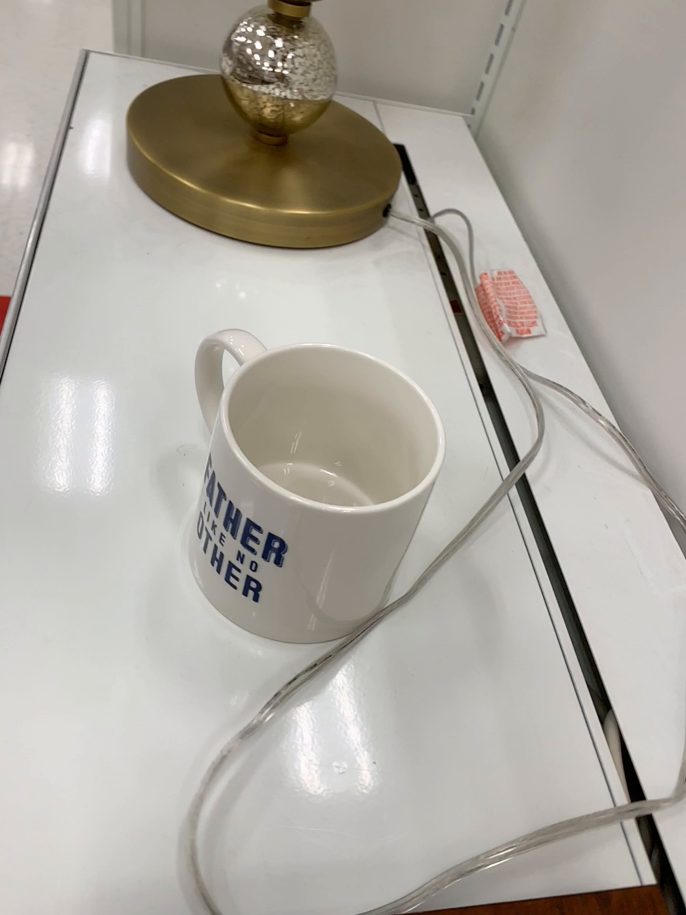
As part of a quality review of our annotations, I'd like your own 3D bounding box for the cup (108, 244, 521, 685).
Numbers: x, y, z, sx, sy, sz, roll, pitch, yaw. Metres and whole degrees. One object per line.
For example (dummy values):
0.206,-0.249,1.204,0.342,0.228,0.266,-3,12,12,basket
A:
-0.026,-0.003,0.367,0.120,0.119,0.160,-25,60,-32,cup
